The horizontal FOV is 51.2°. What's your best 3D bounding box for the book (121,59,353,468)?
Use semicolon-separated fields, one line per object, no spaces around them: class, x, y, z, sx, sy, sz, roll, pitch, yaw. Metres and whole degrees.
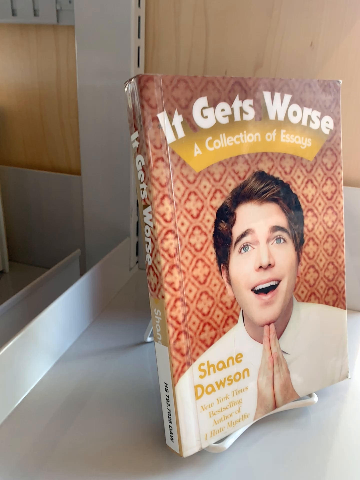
book;0.049;0.008;0.237;0.149;0.210;0.030;-10;11;-29
